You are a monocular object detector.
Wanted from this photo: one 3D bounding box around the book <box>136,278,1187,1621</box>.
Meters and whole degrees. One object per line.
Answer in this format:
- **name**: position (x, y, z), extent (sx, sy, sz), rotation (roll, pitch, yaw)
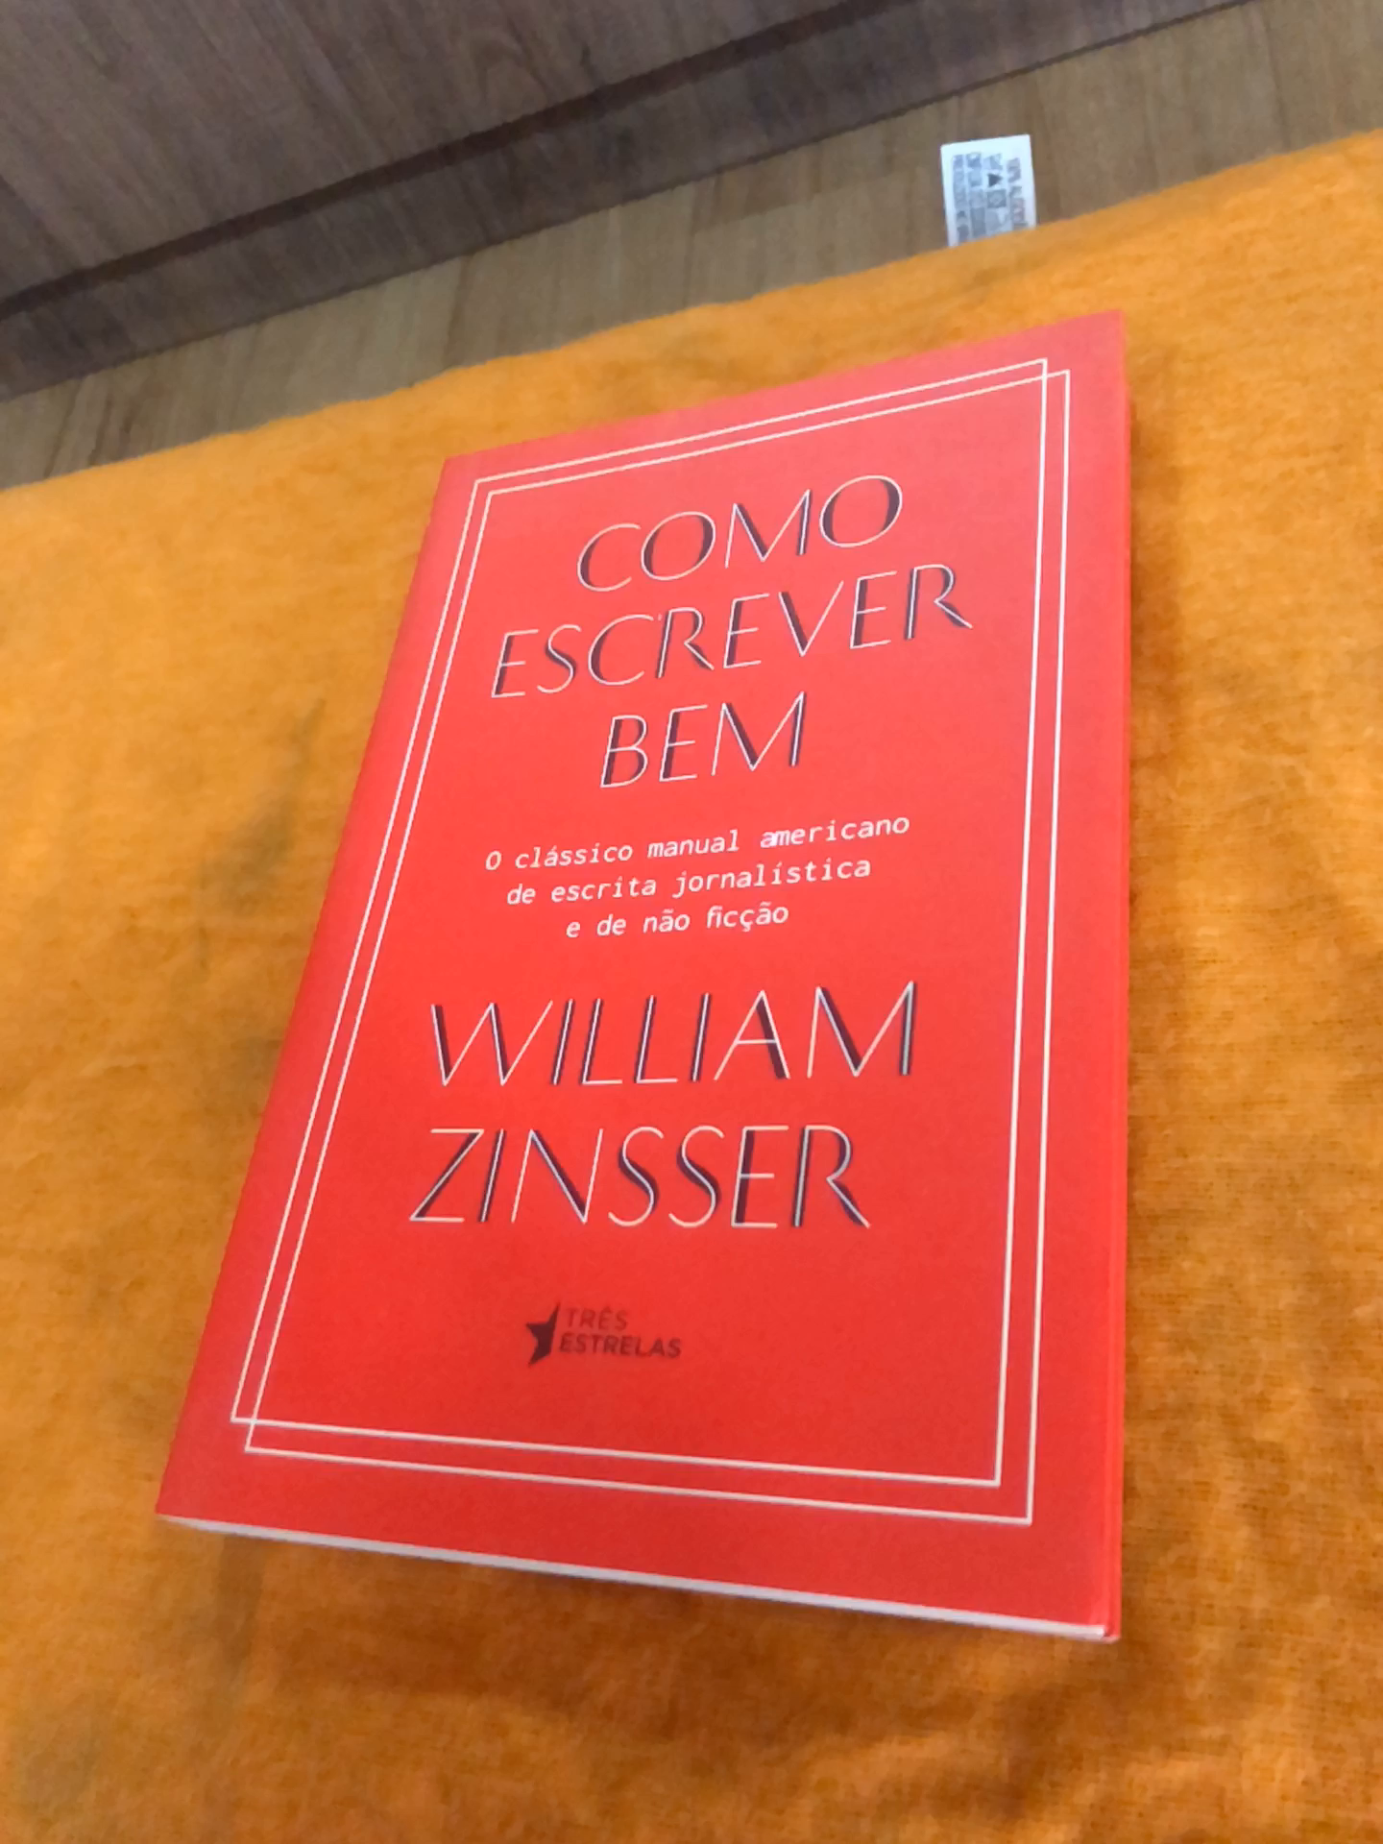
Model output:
- **book**: position (0.002, -0.007, 0.240), extent (0.140, 0.020, 0.196), rotation (-4, 61, 25)
